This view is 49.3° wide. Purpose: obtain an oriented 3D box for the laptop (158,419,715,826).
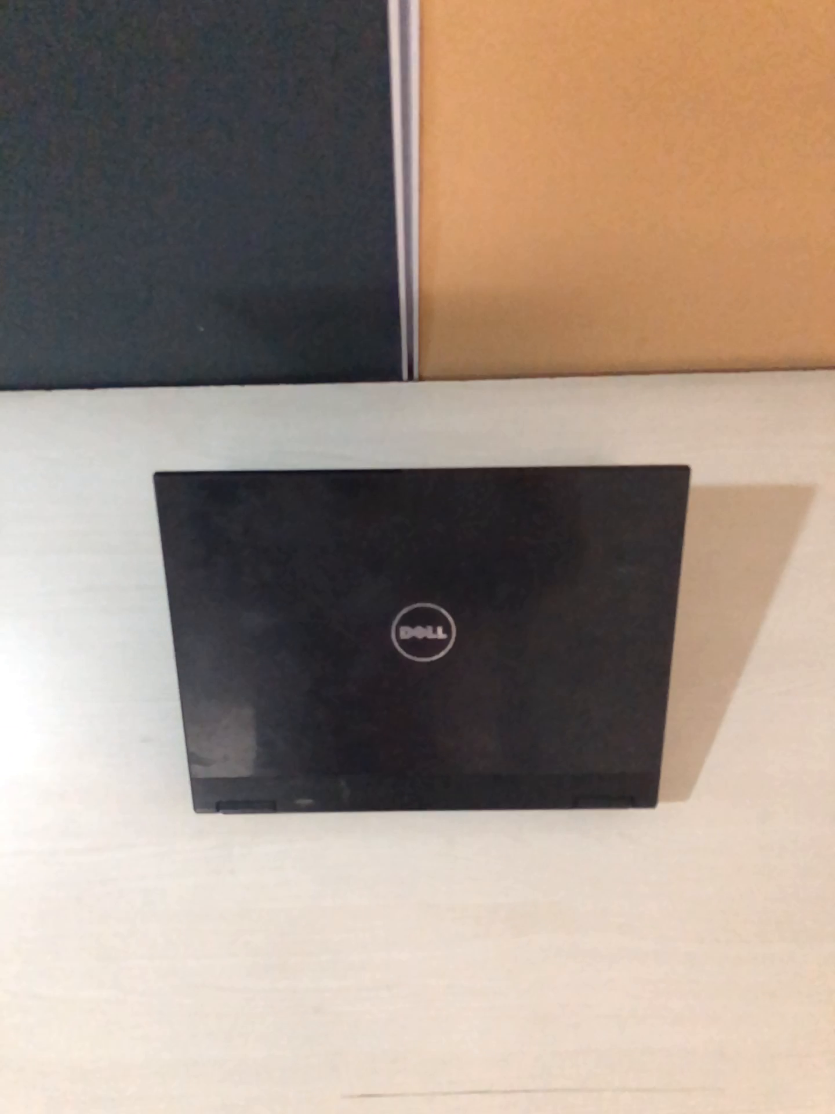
[{"bbox_3d":[0.009,0.045,0.574,0.302,0.127,0.224,-1,80,0],"label":"laptop"}]
